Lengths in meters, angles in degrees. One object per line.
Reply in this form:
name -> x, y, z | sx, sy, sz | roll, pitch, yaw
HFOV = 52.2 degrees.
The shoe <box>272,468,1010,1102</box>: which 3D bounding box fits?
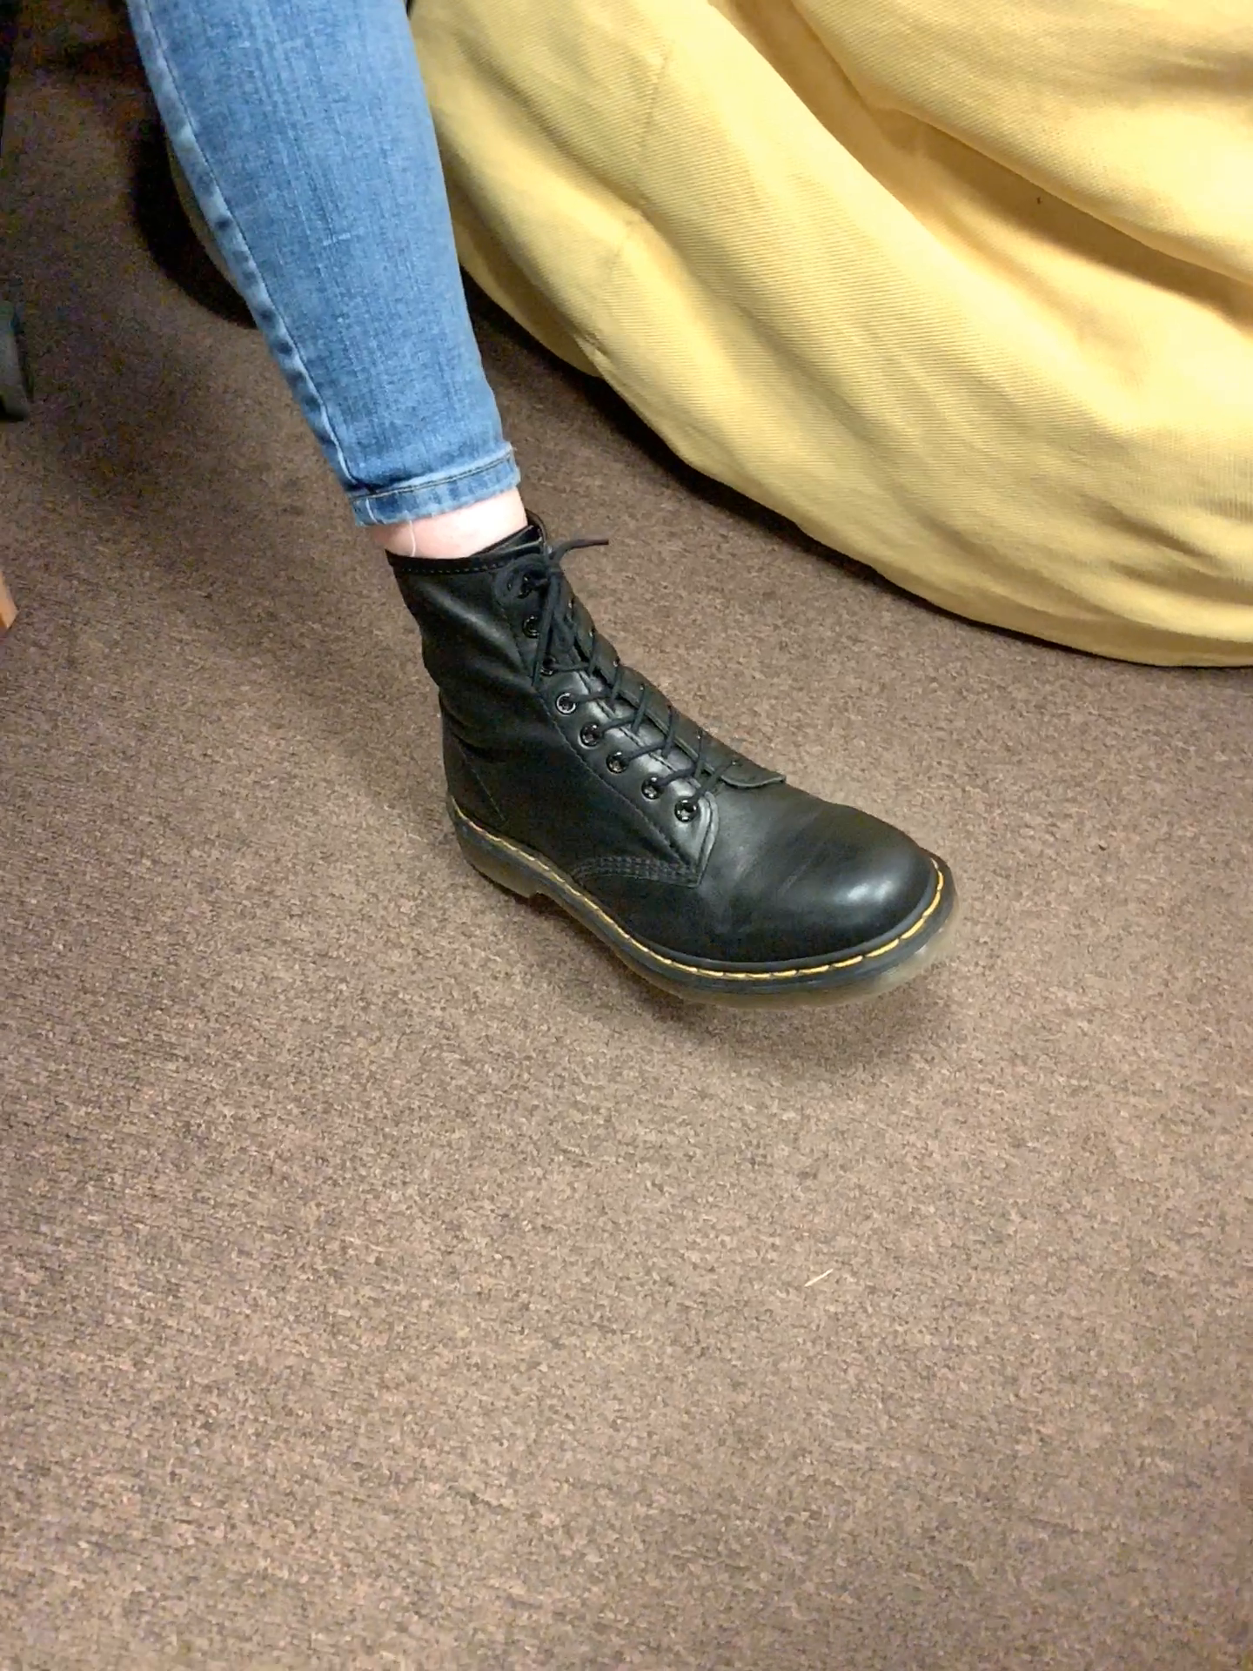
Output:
shoe -> 0.002, -0.039, 0.550 | 0.290, 0.150, 0.120 | 25, 54, 38
